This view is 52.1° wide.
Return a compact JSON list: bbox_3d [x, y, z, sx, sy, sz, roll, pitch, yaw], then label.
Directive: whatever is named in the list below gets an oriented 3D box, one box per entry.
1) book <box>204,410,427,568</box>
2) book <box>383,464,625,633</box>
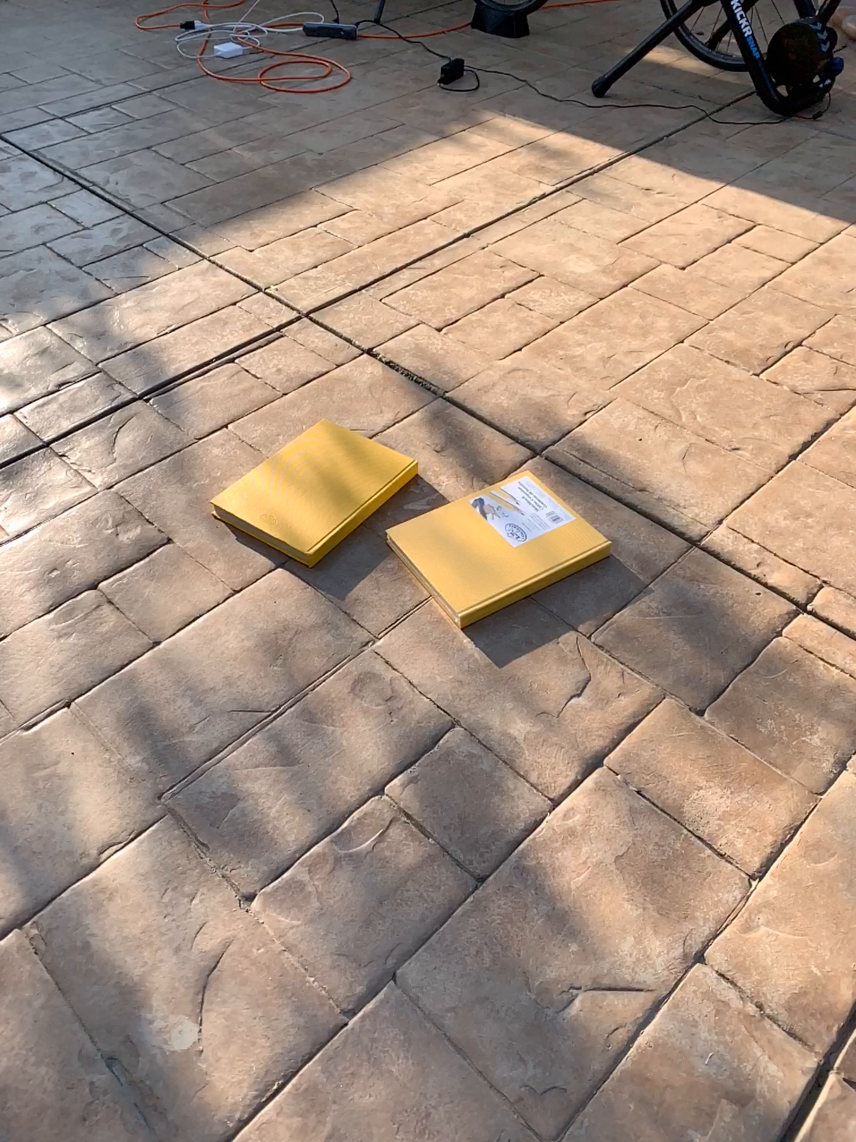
[{"bbox_3d":[-0.185,-0.151,1.495,0.231,0.030,0.311,26,50,24],"label":"book"},{"bbox_3d":[0.117,-0.047,1.380,0.300,0.030,0.231,-24,49,-22],"label":"book"}]
